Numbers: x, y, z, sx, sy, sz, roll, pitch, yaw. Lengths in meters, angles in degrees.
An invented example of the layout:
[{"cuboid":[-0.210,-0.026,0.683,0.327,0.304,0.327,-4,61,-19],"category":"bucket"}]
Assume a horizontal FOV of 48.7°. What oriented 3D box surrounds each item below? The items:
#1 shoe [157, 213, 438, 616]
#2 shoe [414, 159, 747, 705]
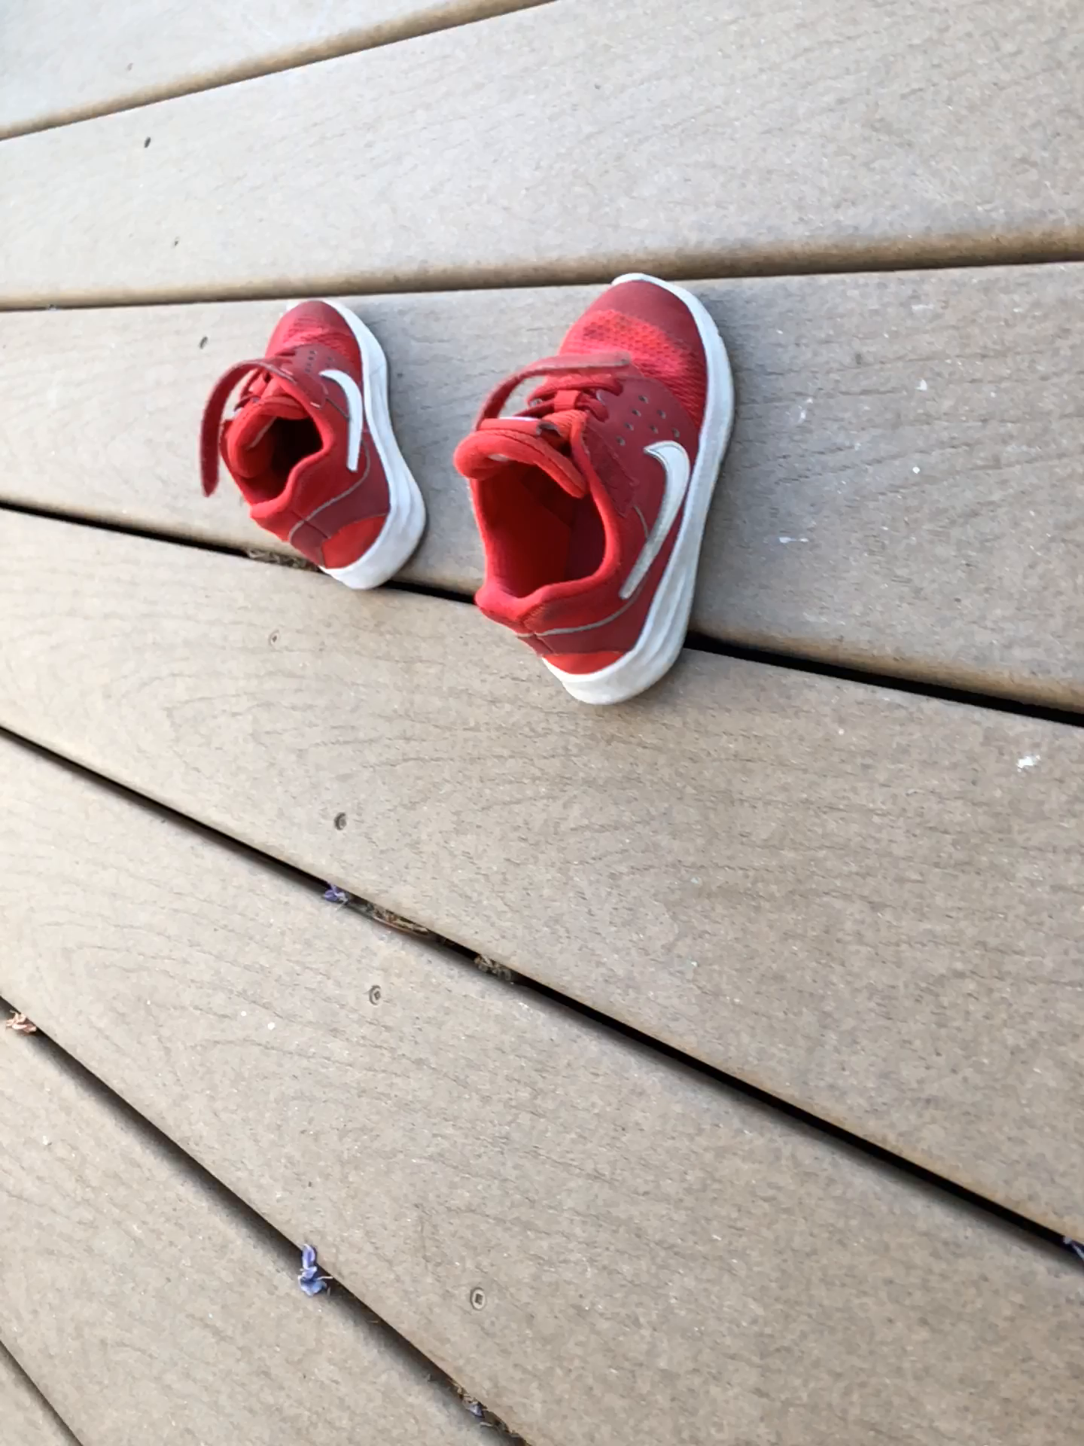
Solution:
[{"cuboid":[-0.114,-0.139,0.543,0.073,0.069,0.153,-34,58,26],"category":"shoe"},{"cuboid":[0.016,-0.095,0.422,0.070,0.069,0.164,-1,76,38],"category":"shoe"}]
